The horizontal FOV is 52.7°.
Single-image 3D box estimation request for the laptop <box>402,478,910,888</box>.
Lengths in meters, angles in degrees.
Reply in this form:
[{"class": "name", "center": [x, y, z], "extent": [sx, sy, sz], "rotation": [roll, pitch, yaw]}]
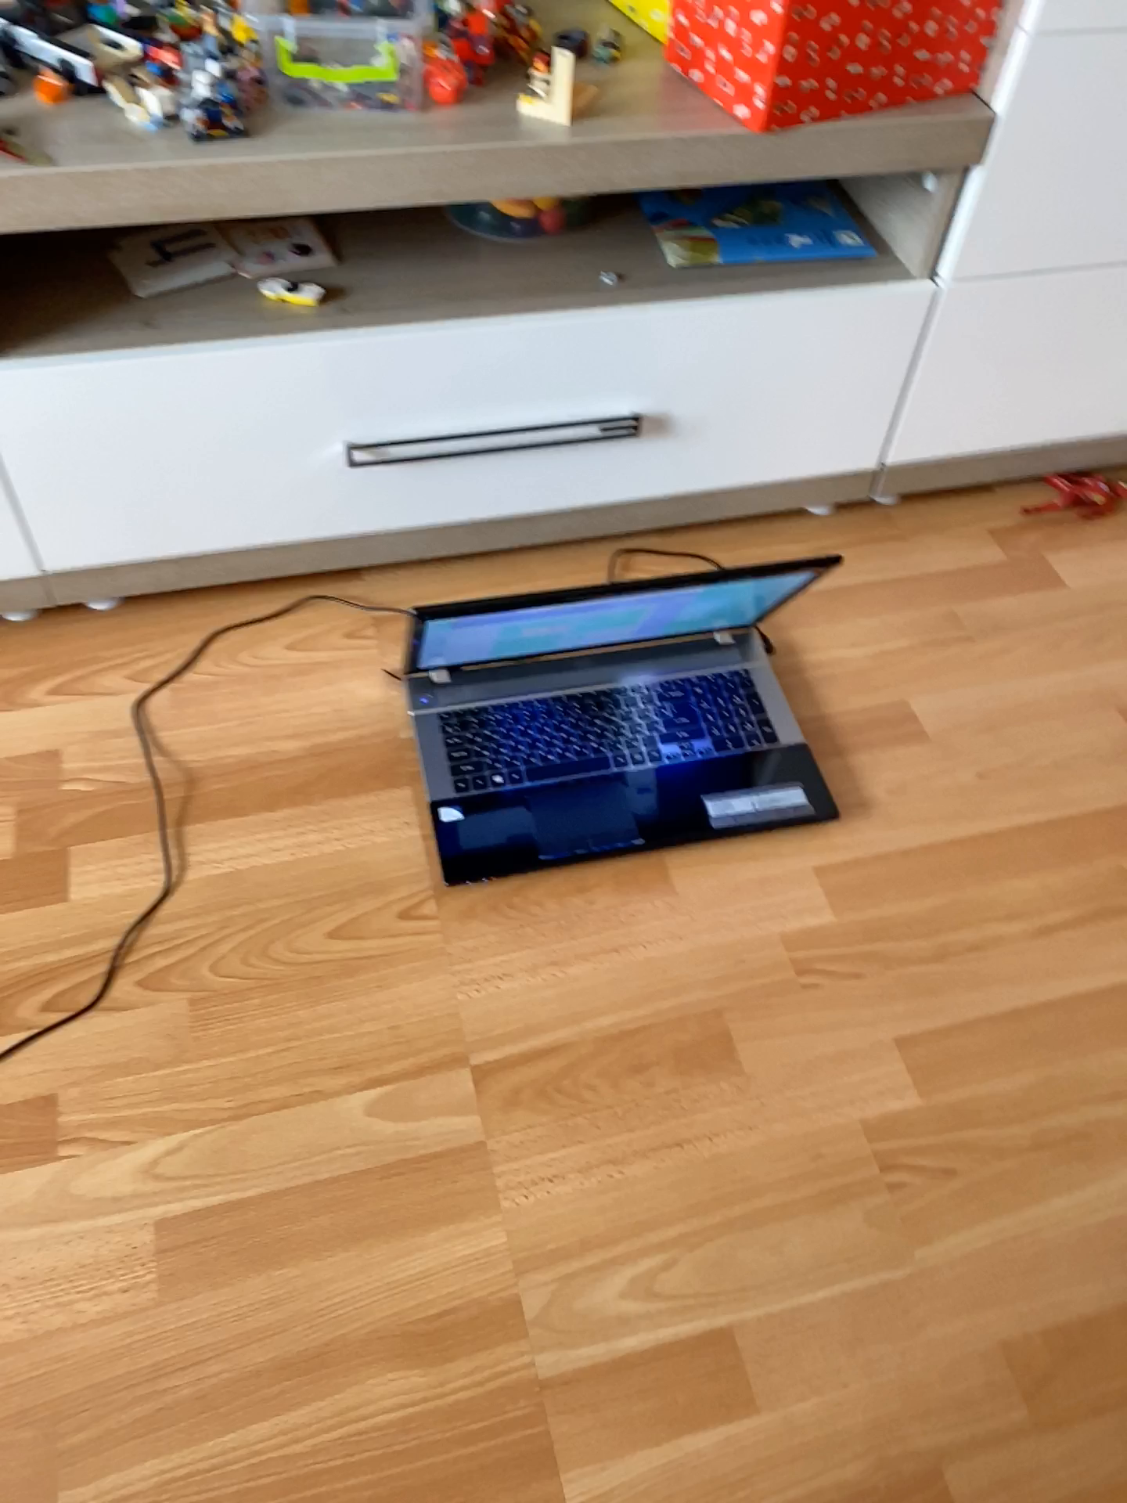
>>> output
[{"class": "laptop", "center": [0.067, -0.074, 1.131], "extent": [0.412, 0.233, 0.269], "rotation": [-8, 51, -11]}]
